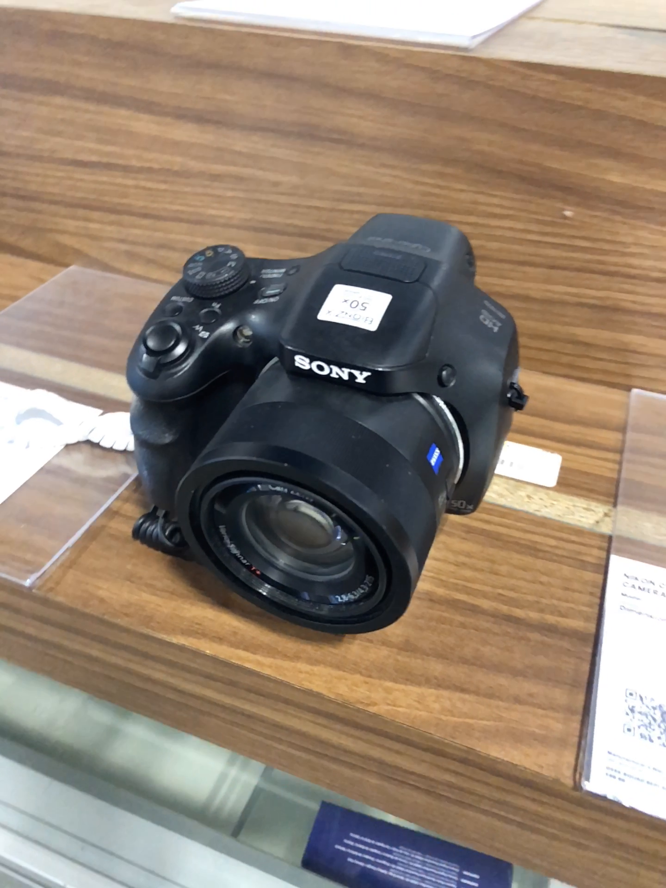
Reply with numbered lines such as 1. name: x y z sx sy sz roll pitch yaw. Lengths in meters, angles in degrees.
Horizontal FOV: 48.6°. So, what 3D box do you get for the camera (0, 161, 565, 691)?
1. camera: -0.007 -0.020 0.241 0.130 0.089 0.131 14 39 14
